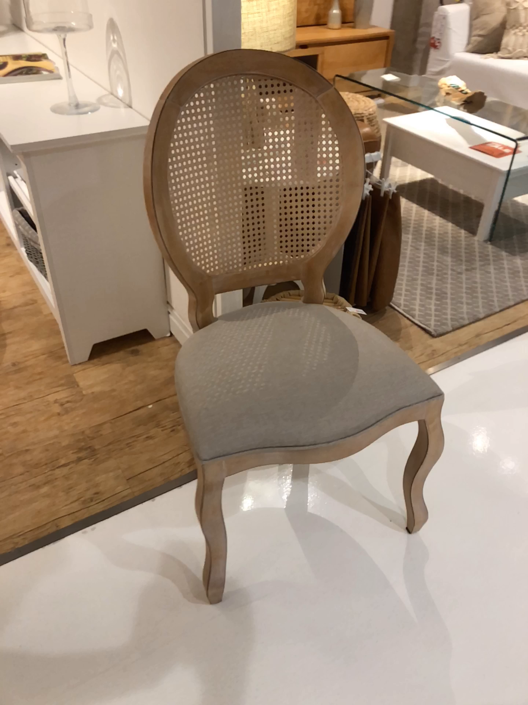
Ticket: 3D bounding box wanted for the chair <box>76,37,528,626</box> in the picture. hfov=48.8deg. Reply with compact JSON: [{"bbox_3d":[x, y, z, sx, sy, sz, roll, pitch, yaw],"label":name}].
[{"bbox_3d":[0.042,-0.040,1.180,0.591,0.962,0.524,-13,39,-18],"label":"chair"}]
